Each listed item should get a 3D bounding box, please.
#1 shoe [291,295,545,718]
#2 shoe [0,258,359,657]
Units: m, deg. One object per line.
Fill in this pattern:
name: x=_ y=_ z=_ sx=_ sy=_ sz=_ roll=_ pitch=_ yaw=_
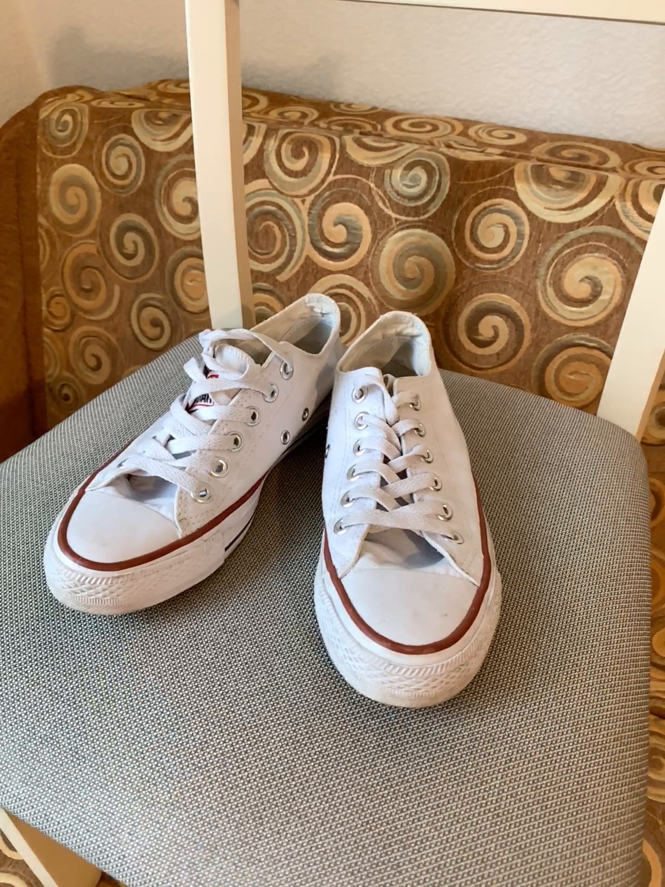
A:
shoe: x=0.029 y=0.014 z=0.342 sx=0.090 sy=0.060 sz=0.221 roll=-2 pitch=45 yaw=0
shoe: x=-0.074 y=-0.011 z=0.366 sx=0.090 sy=0.060 sz=0.221 roll=19 pitch=49 yaw=20
